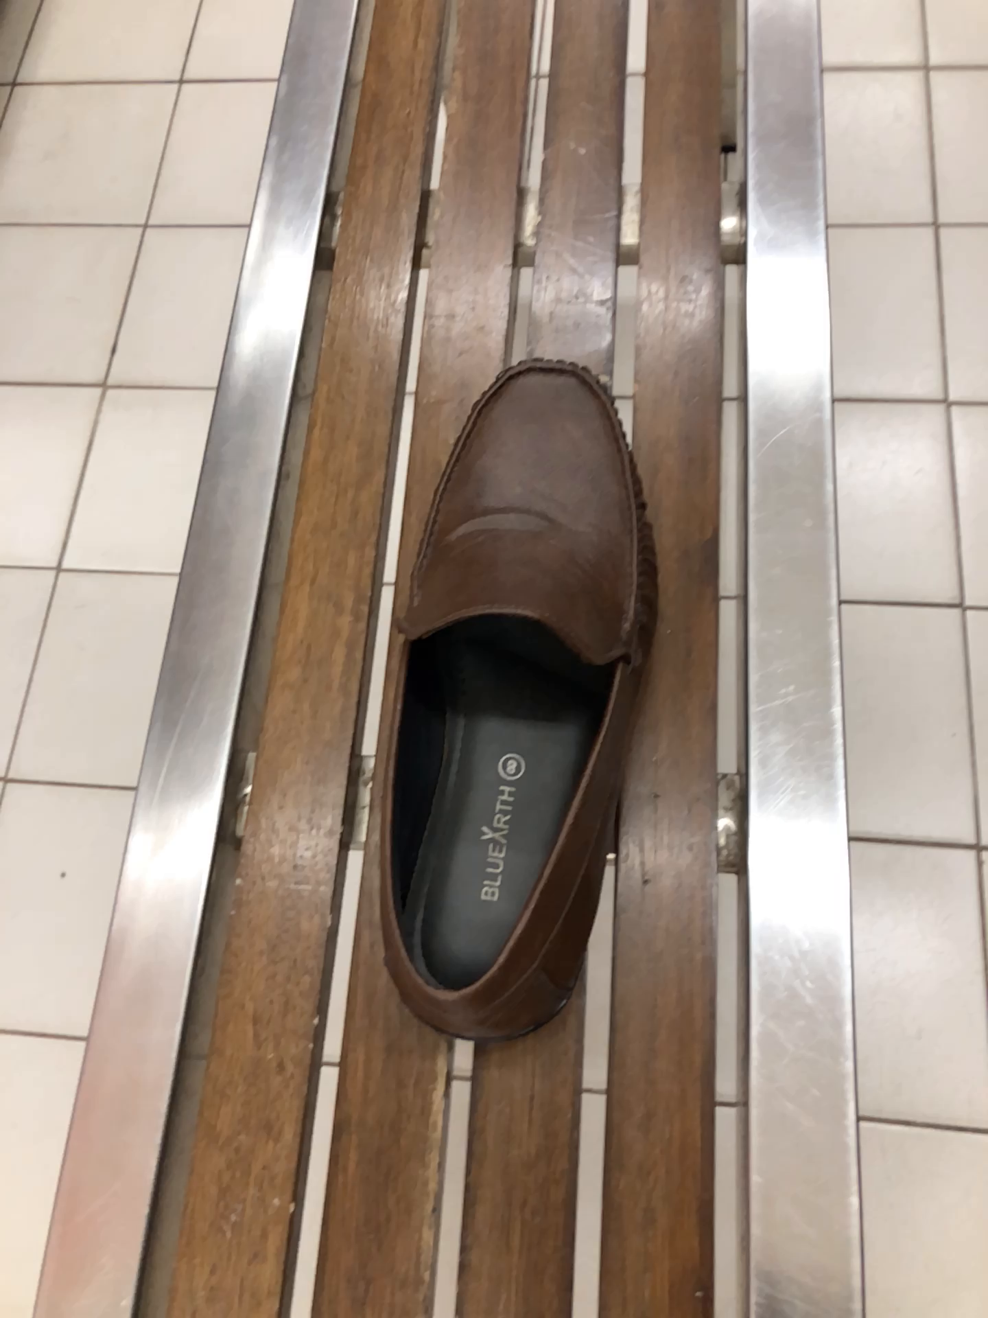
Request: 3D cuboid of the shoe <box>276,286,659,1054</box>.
[{"bbox_3d":[0.003,0.000,0.430,0.090,0.090,0.281,7,70,9],"label":"shoe"}]
